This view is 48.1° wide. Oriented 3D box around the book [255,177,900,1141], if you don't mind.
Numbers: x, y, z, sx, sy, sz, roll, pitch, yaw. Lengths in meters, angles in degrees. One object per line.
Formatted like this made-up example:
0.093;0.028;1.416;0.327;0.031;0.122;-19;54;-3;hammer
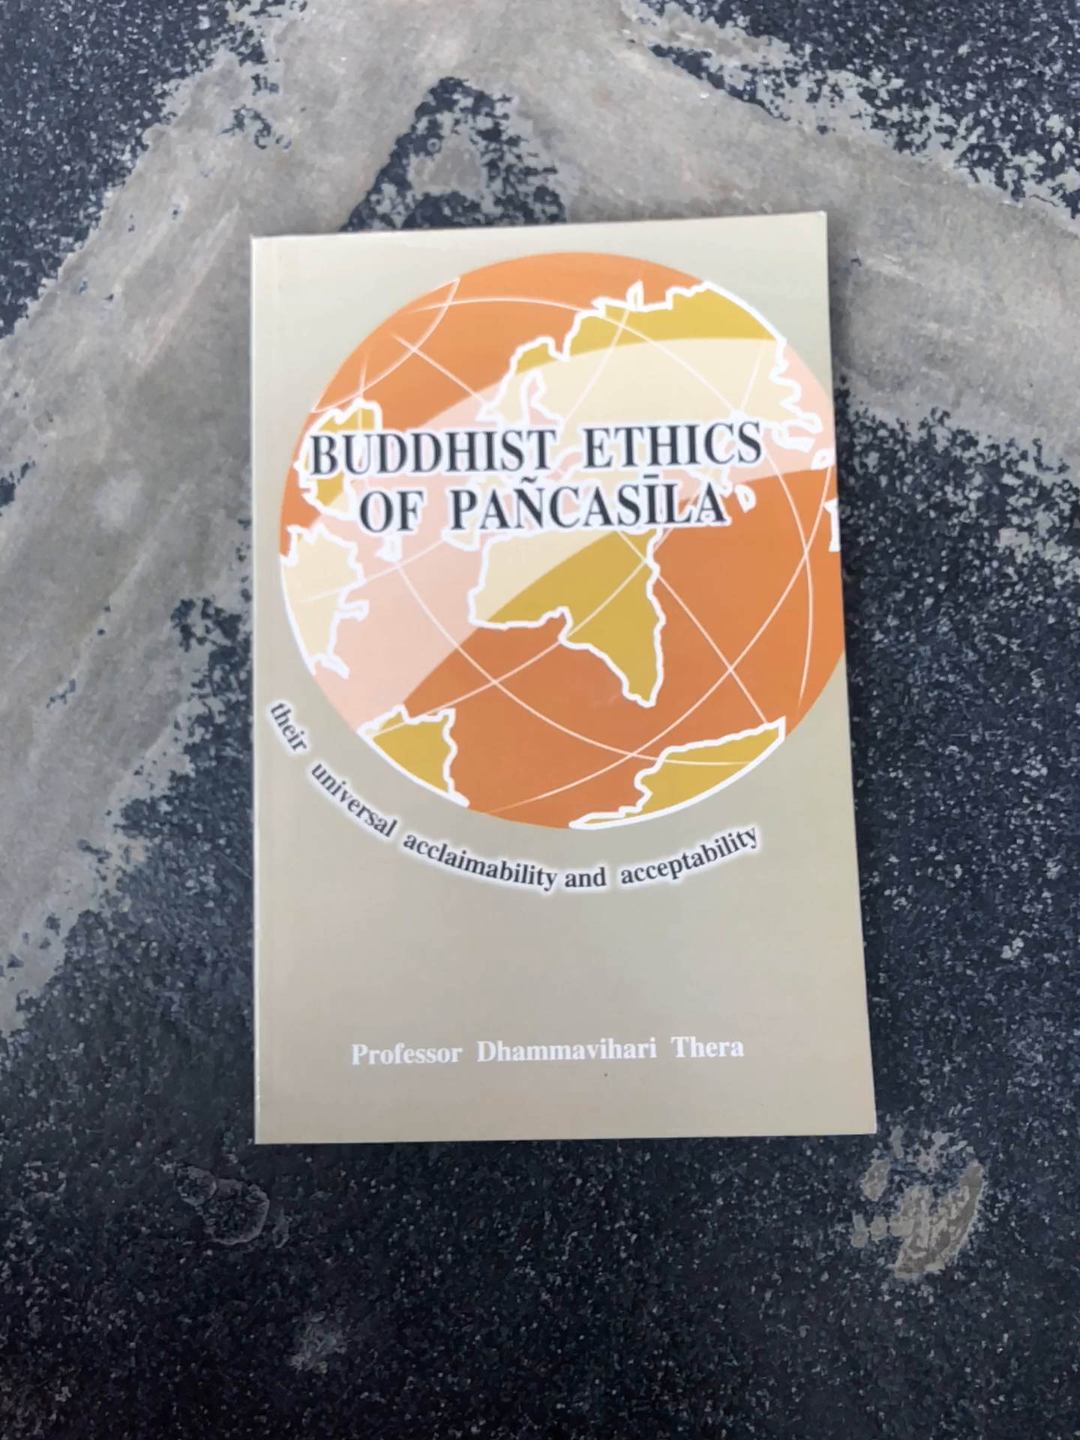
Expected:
0.007;-0.018;0.280;0.140;0.010;0.220;-1;83;0;book
